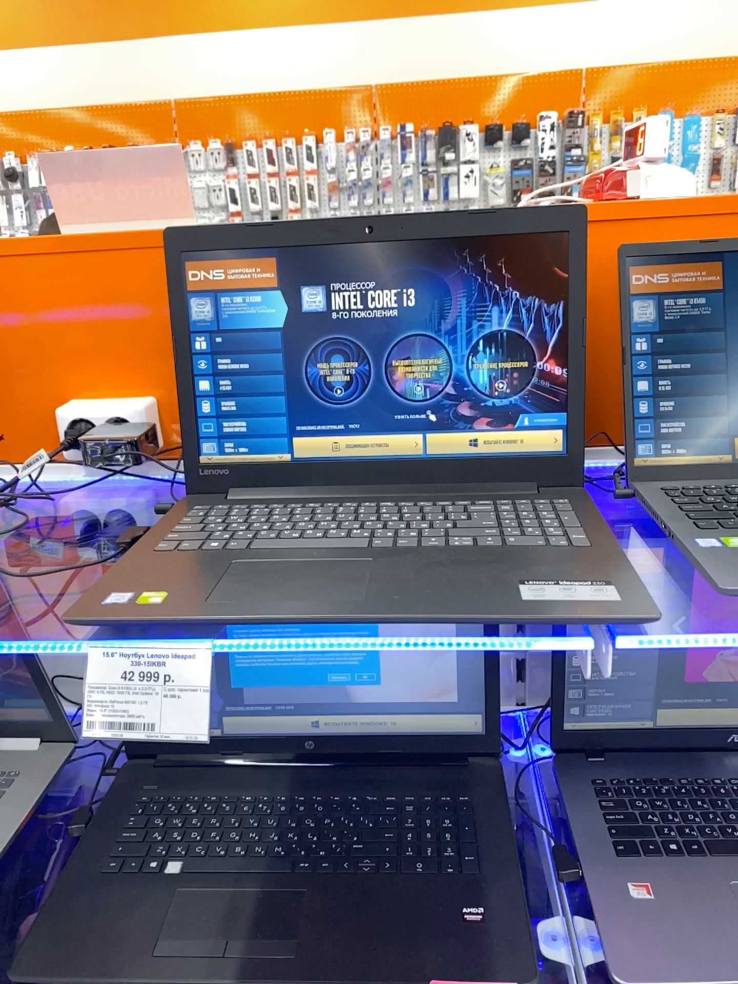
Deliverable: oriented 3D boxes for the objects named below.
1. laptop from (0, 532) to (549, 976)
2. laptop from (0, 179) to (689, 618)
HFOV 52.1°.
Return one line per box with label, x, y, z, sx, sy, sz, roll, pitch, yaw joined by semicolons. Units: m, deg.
laptop;-0.076;0.203;0.664;0.400;0.263;0.272;-2;15;2
laptop;-0.007;-0.083;0.575;0.377;0.245;0.290;-1;17;5
